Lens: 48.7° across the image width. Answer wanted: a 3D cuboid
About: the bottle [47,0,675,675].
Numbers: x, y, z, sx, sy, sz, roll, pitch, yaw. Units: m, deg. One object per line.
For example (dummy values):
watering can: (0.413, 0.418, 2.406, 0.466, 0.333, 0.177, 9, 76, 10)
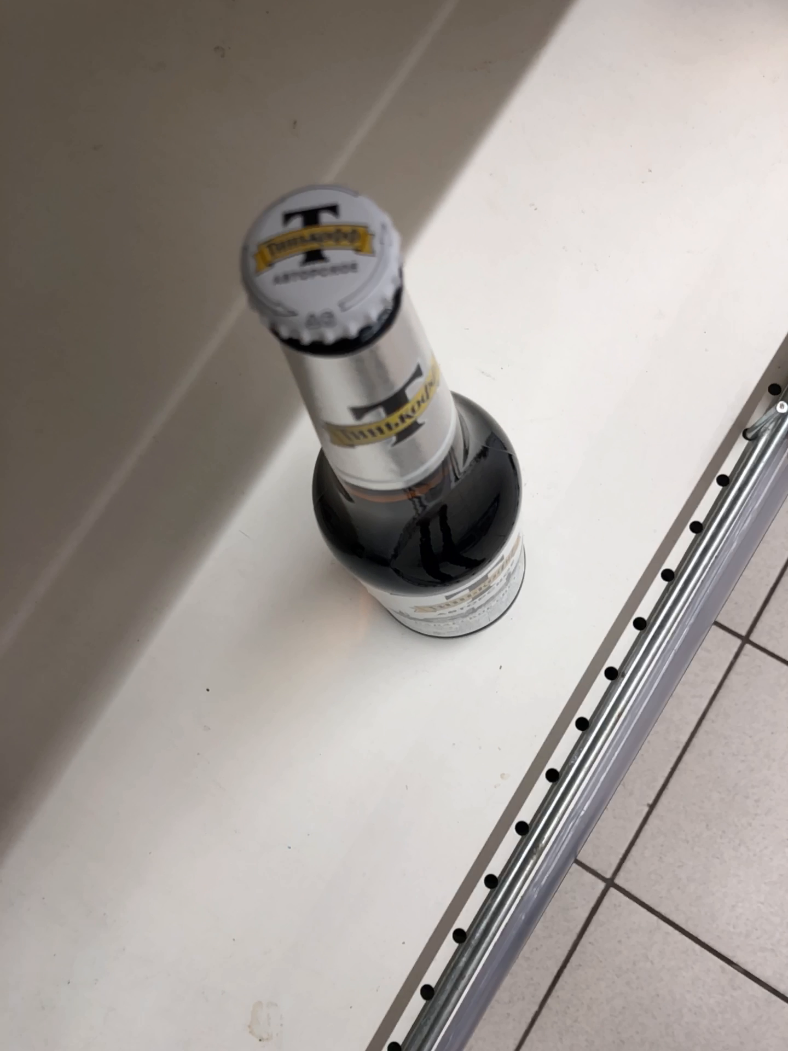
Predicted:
bottle: (0.009, -0.018, 0.263, 0.080, 0.250, 0.070, -34, 73, -1)
